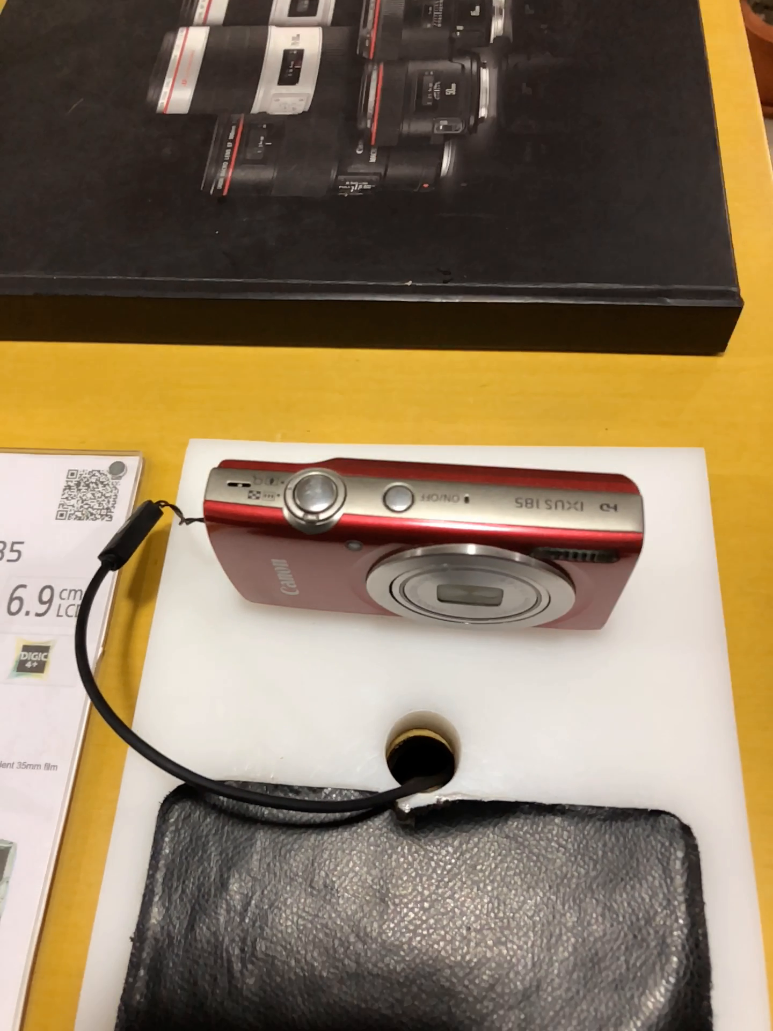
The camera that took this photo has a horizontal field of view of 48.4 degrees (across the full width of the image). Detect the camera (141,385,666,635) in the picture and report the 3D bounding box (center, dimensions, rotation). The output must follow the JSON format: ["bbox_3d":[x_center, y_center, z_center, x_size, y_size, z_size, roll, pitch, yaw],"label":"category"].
[{"bbox_3d":[0.004,0.000,0.192,0.100,0.050,0.030,4,63,5],"label":"camera"}]
